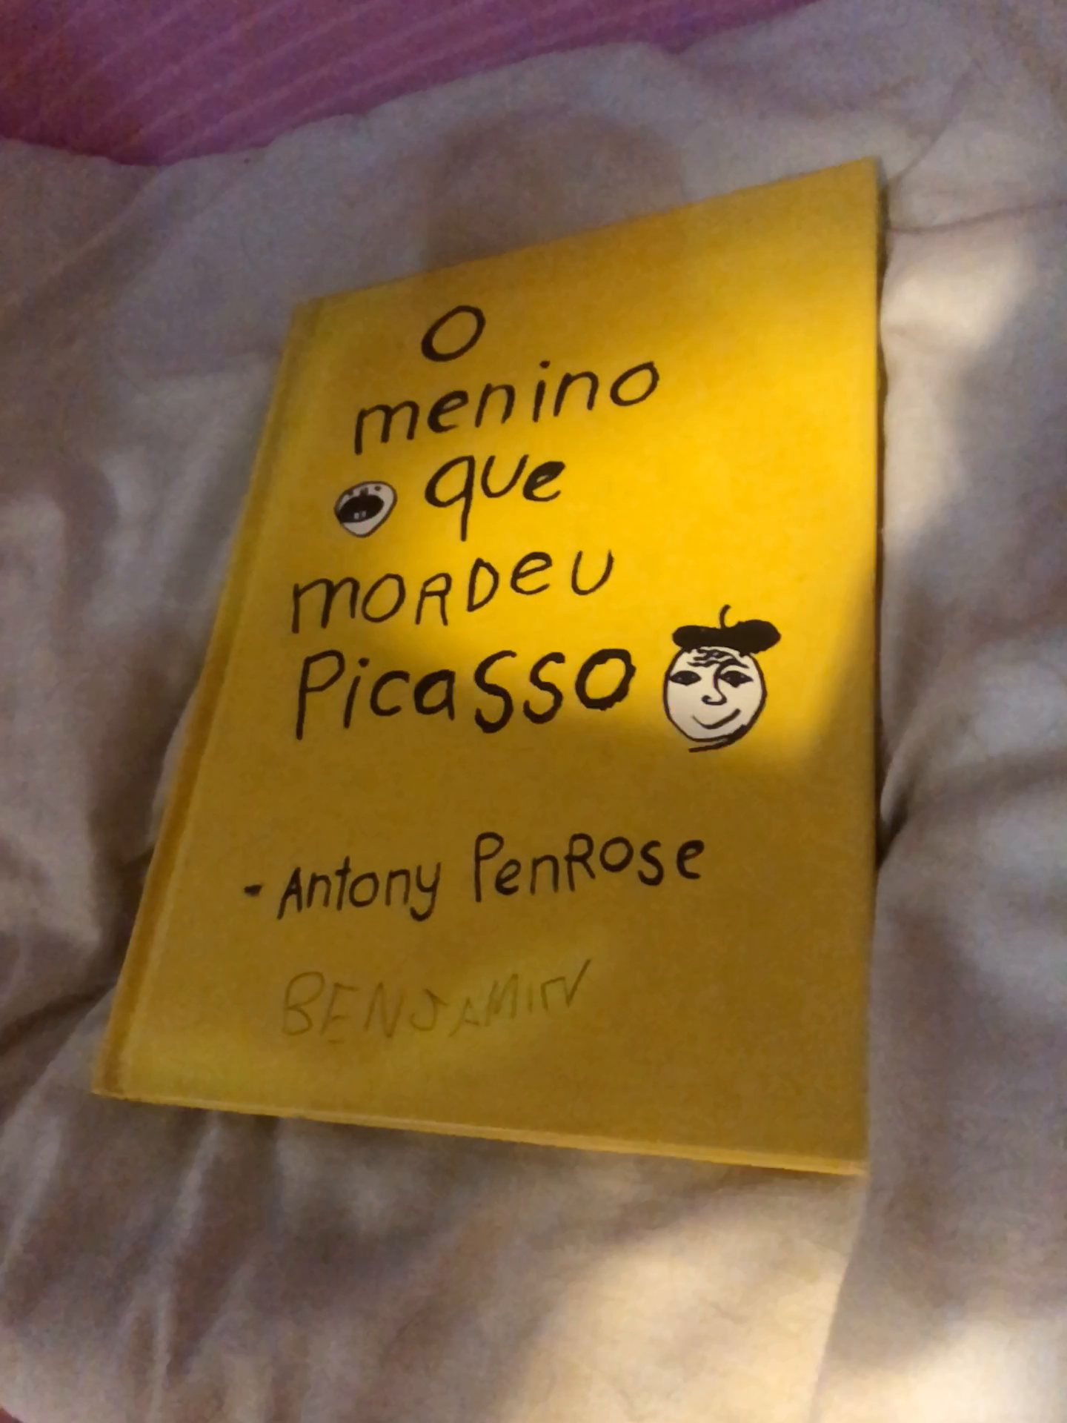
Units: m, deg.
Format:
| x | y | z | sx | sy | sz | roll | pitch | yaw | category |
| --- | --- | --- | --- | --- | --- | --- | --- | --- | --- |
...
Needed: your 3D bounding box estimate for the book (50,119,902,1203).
| x | y | z | sx | sy | sz | roll | pitch | yaw | category |
| --- | --- | --- | --- | --- | --- | --- | --- | --- | --- |
| -0.007 | -0.023 | 0.285 | 0.181 | 0.024 | 0.241 | -4 | 64 | 25 | book |
